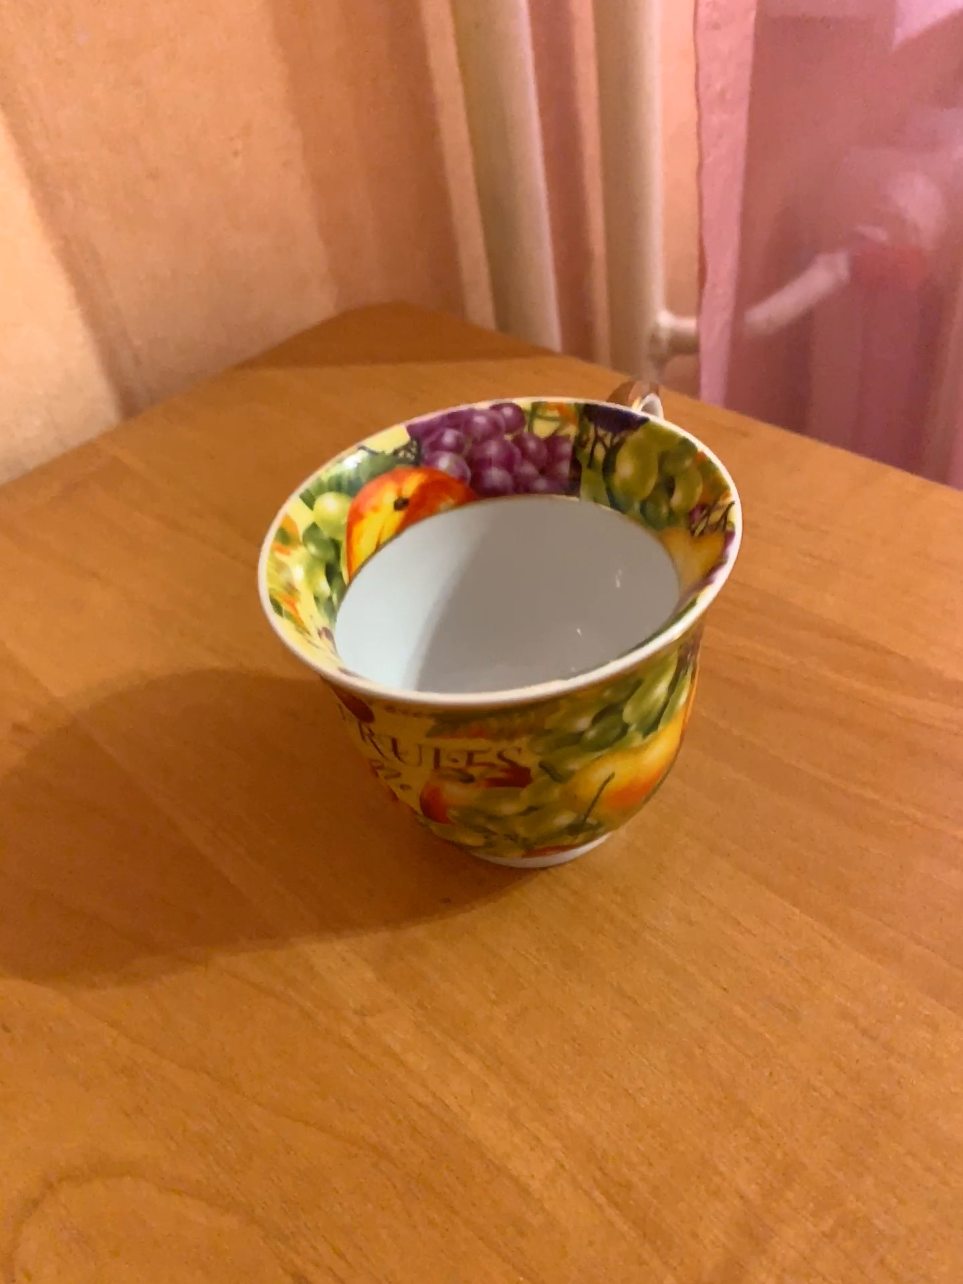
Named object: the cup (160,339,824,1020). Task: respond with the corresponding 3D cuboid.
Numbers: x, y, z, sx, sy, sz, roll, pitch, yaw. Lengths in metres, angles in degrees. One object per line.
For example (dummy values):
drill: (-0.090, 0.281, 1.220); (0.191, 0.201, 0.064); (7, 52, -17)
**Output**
cup: (0.012, -0.002, 0.207); (0.086, 0.071, 0.106); (12, 46, 24)
